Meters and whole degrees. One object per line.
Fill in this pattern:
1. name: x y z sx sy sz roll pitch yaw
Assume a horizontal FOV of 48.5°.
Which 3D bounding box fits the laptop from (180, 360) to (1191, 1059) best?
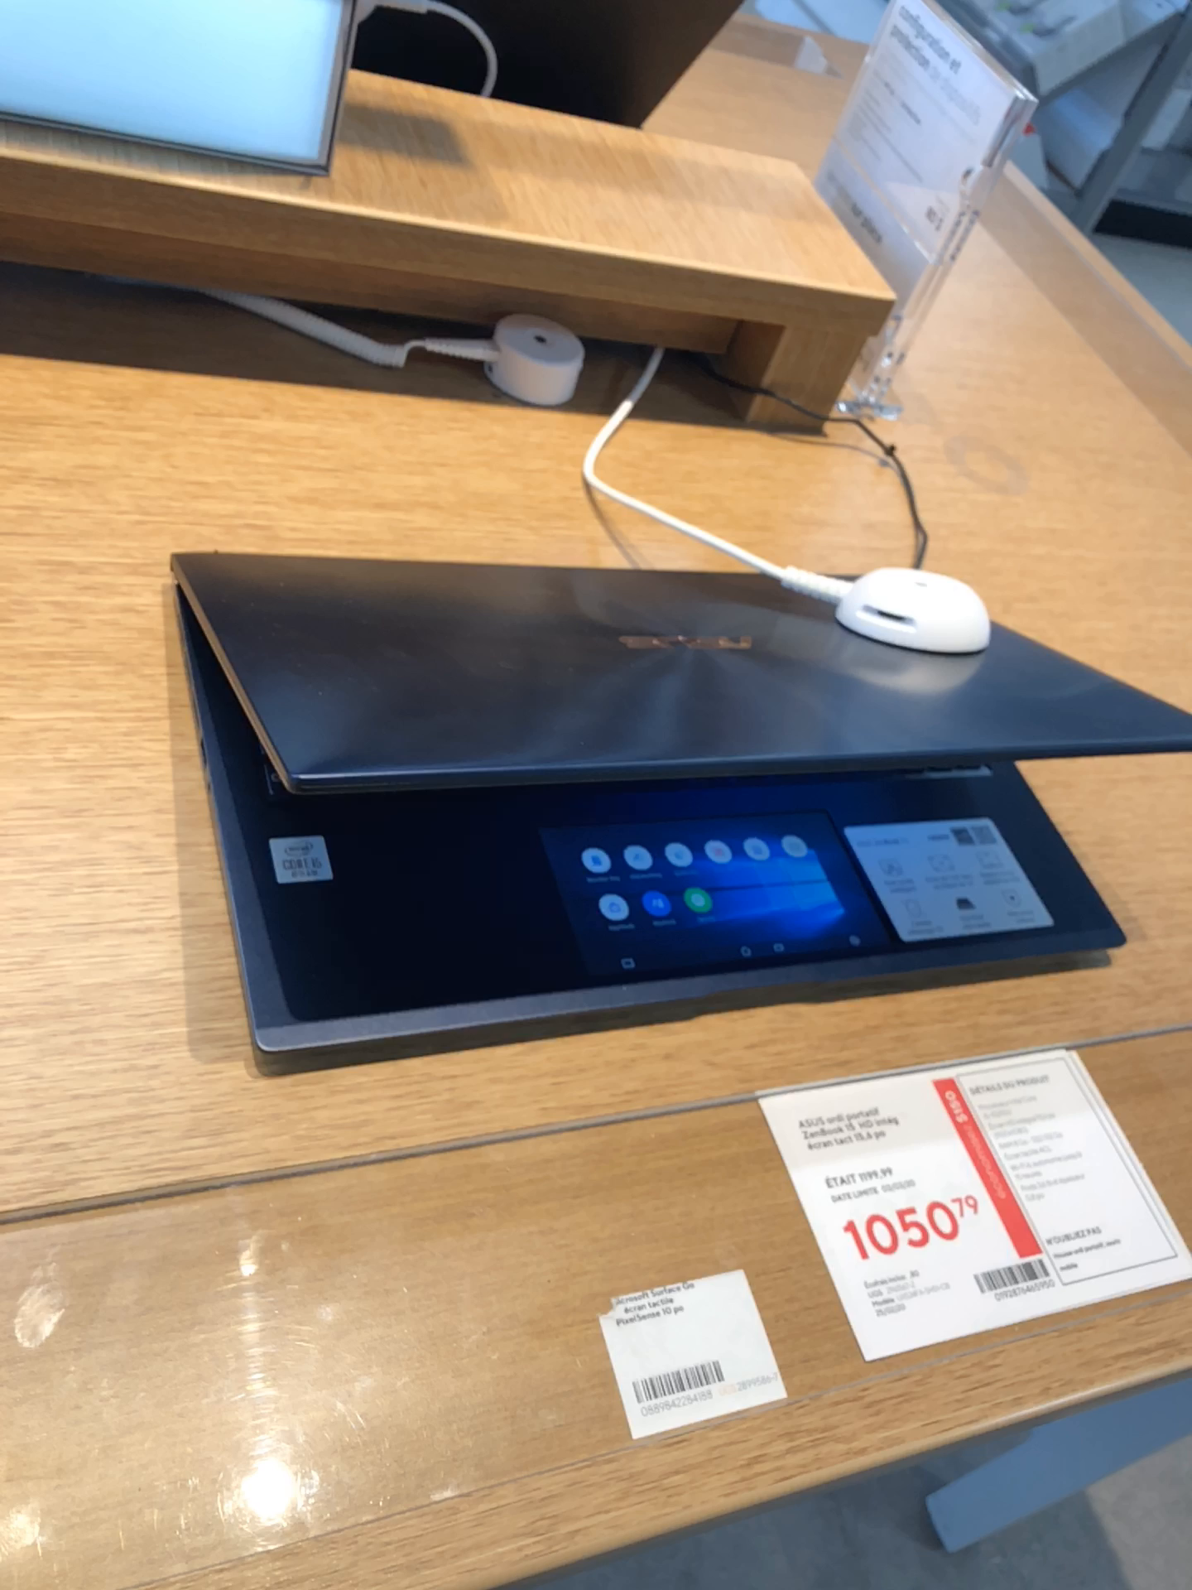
1. laptop: 0.044 -0.042 0.492 0.353 0.098 0.209 -3 50 -27
